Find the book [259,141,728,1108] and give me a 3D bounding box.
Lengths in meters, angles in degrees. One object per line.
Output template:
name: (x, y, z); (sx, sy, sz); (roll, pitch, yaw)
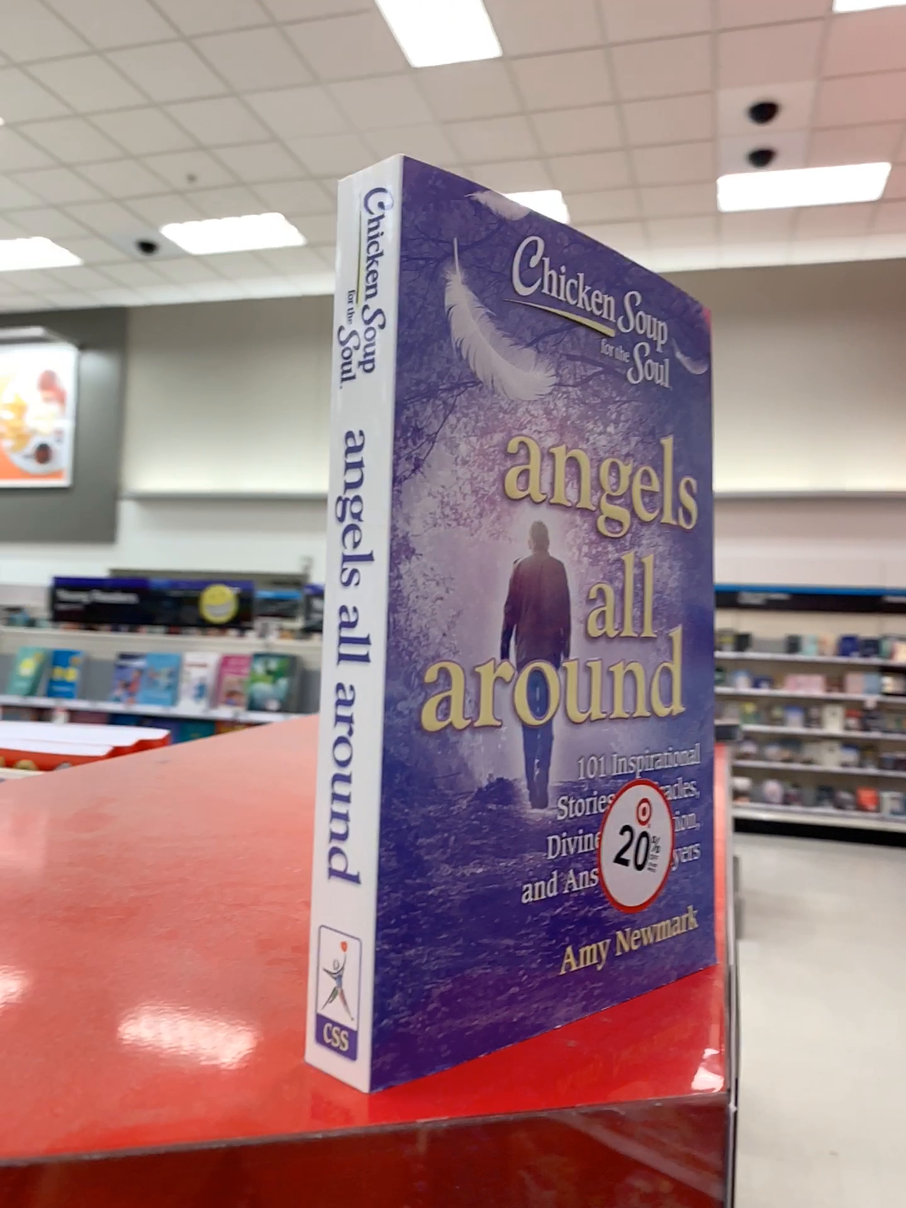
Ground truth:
book: (0.019, 0.004, 0.267); (0.142, 0.211, 0.041); (3, -5, -42)
